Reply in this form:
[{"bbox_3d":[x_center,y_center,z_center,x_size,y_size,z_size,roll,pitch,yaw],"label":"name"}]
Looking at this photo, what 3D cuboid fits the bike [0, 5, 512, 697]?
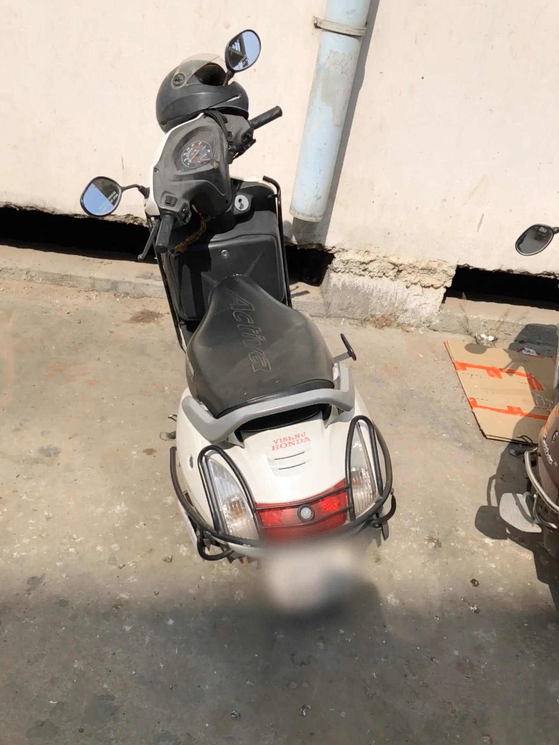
[{"bbox_3d":[-0.283,-0.122,1.658,0.625,1.122,1.305,-7,40,-25],"label":"bike"}]
